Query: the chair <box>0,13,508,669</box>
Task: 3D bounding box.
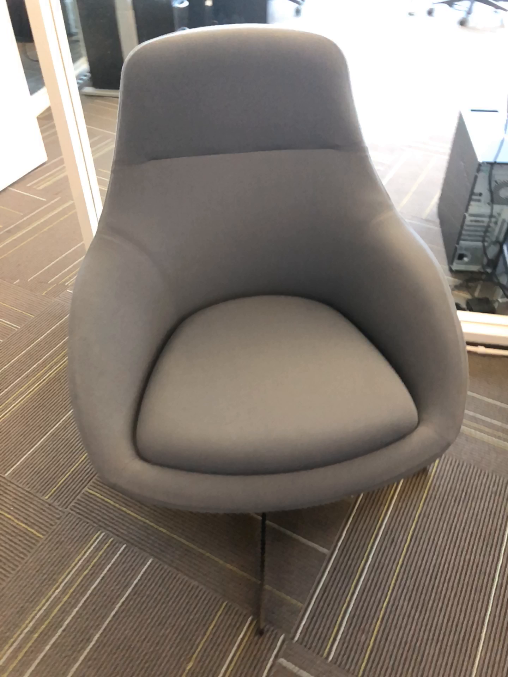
[{"bbox_3d":[-0.023,-0.025,1.243,0.930,0.995,0.965,-4,42,-4],"label":"chair"}]
